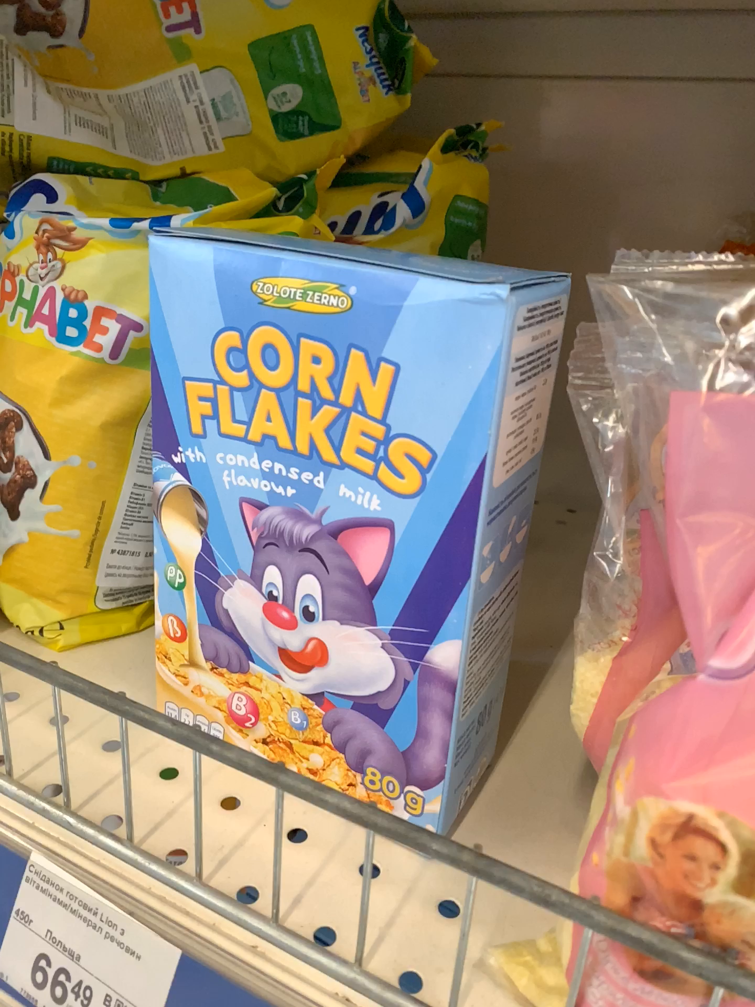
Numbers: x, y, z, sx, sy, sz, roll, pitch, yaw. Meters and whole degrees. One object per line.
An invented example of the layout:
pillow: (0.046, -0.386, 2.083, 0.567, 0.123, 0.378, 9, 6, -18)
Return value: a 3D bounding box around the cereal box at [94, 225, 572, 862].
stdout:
cereal box: (-0.019, 0.005, 0.238, 0.120, 0.159, 0.050, 14, 22, 24)
